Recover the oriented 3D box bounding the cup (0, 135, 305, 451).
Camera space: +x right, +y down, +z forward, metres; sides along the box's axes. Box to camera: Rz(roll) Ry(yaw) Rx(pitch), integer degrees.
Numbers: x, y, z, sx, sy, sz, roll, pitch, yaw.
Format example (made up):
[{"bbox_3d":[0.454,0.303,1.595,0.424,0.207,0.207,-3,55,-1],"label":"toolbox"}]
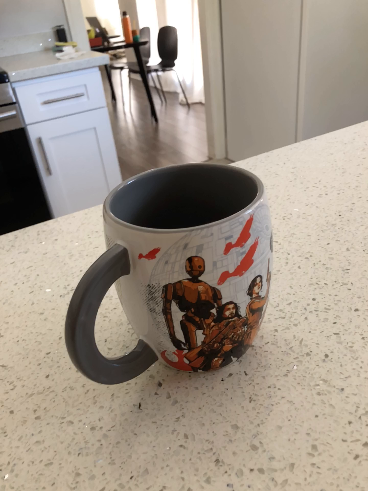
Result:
[{"bbox_3d":[-0.010,0.009,0.242,0.100,0.100,0.140,19,40,37],"label":"cup"}]
